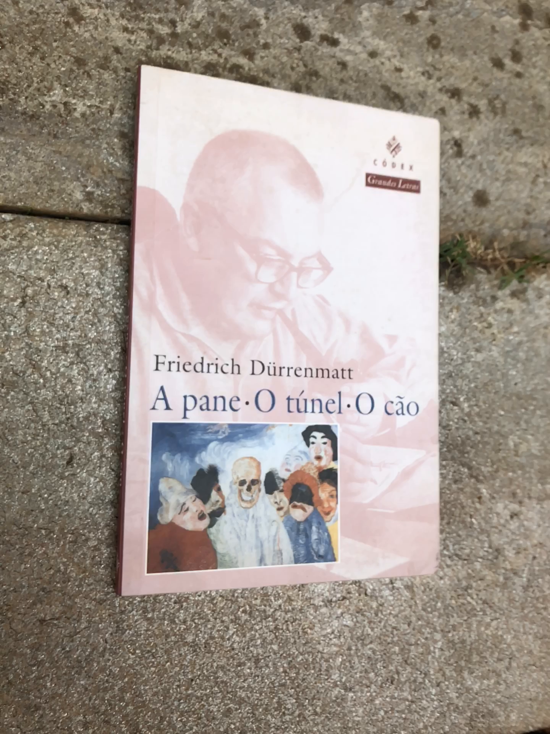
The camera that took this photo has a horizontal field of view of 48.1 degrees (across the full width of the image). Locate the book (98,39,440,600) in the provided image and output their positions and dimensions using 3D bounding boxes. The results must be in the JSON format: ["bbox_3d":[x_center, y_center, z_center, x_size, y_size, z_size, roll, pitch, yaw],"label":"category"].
[{"bbox_3d":[0.003,-0.017,0.260,0.138,0.020,0.210,3,85,-18],"label":"book"}]
